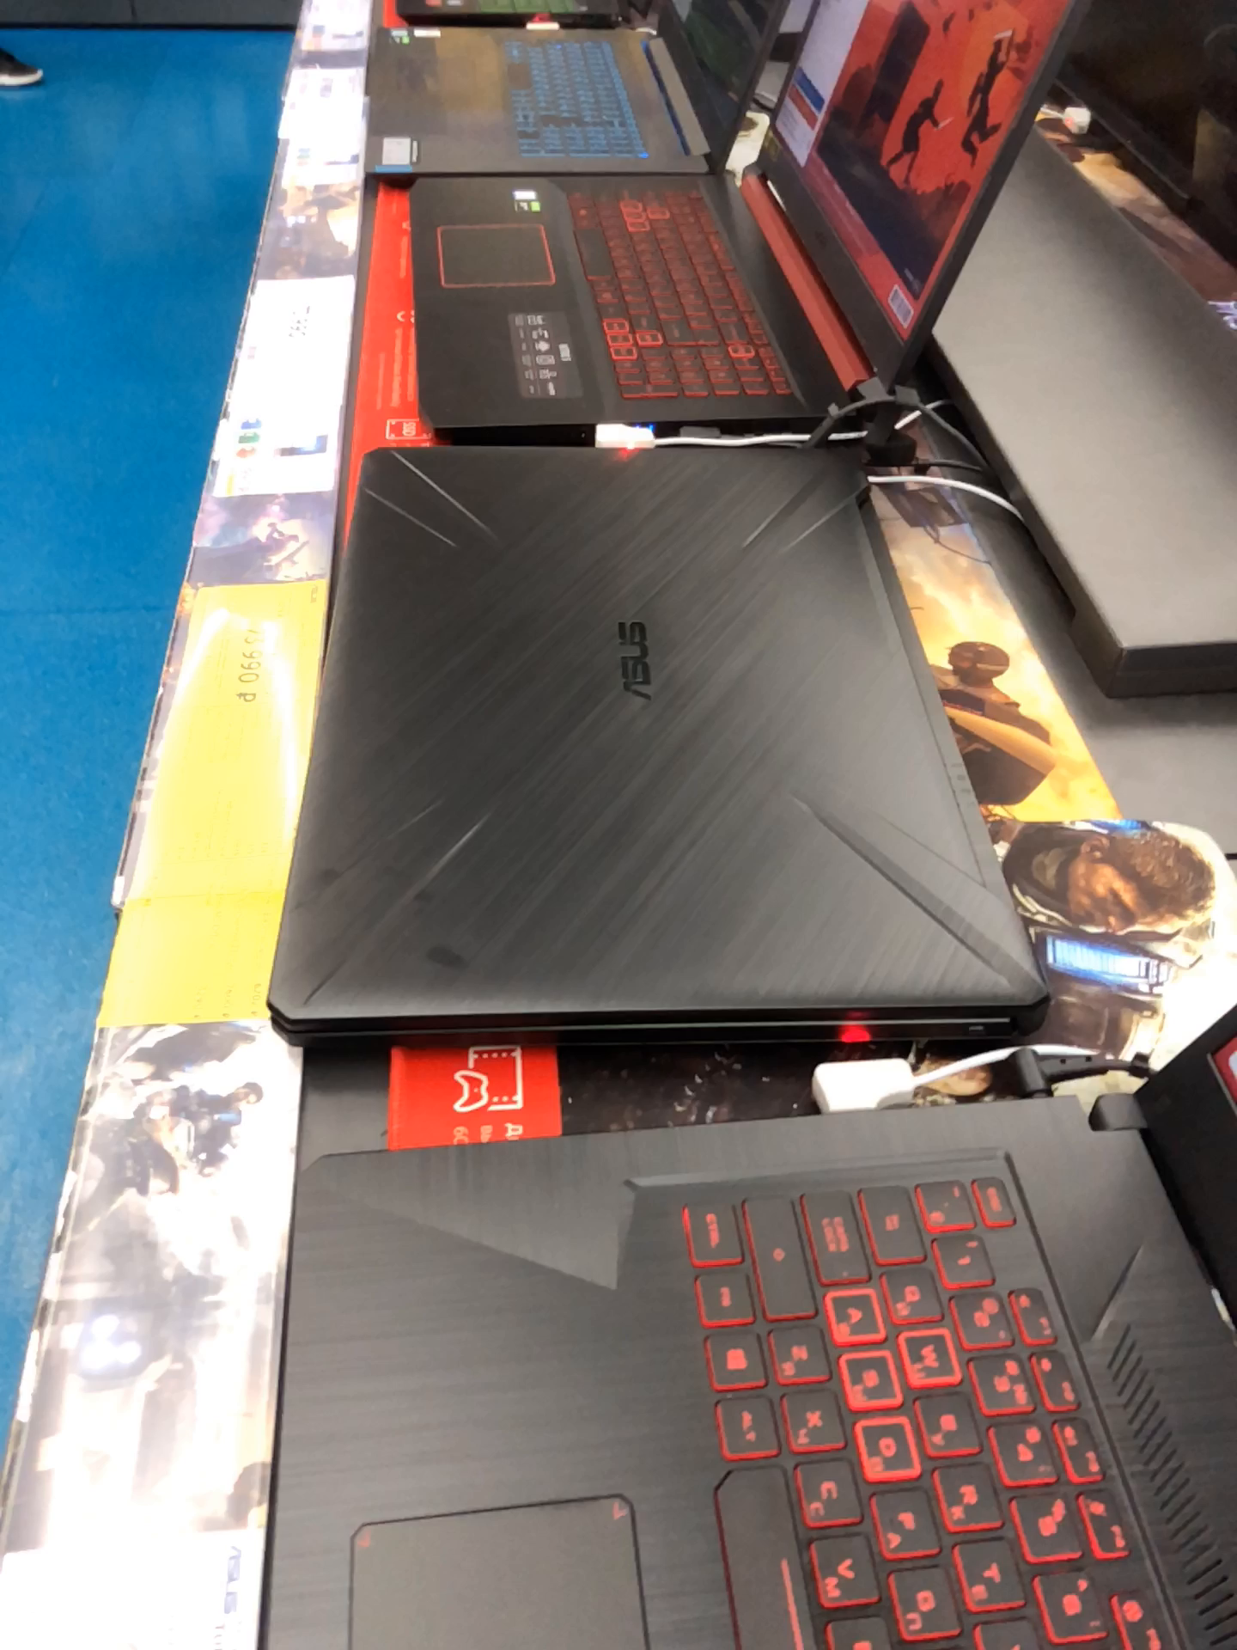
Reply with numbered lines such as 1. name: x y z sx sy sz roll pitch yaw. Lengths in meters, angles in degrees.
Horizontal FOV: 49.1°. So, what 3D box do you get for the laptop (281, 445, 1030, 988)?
1. laptop: 0.009 -0.077 0.611 0.261 0.001 0.387 0 43 -3
